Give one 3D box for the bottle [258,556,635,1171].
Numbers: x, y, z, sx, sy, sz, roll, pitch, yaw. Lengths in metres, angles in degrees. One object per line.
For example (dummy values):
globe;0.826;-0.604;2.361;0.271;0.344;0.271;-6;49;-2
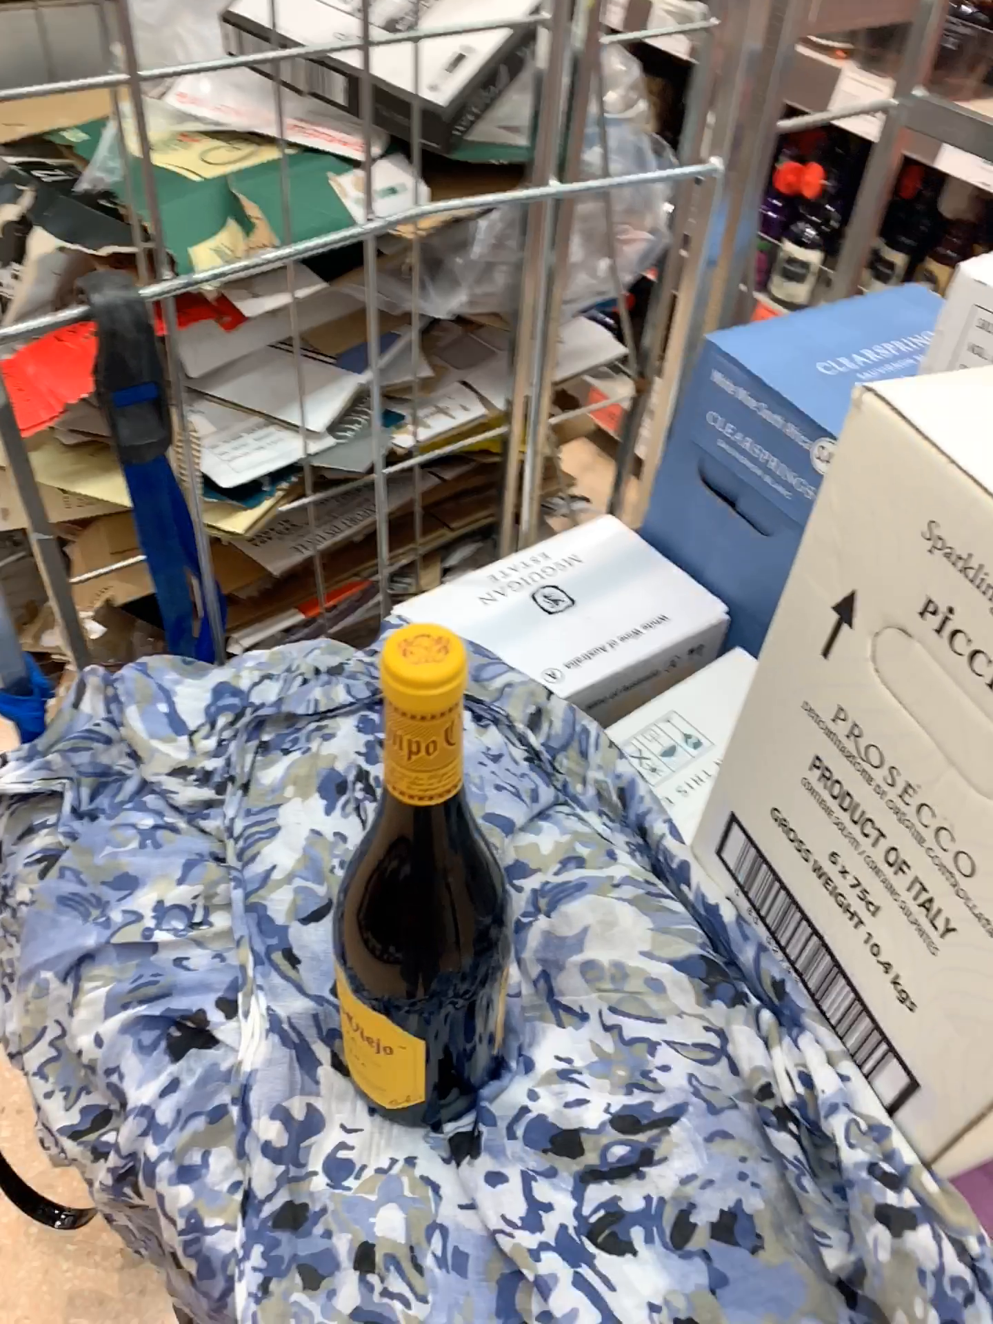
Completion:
bottle;-0.030;0.099;0.422;0.090;0.270;0.091;4;45;-4
